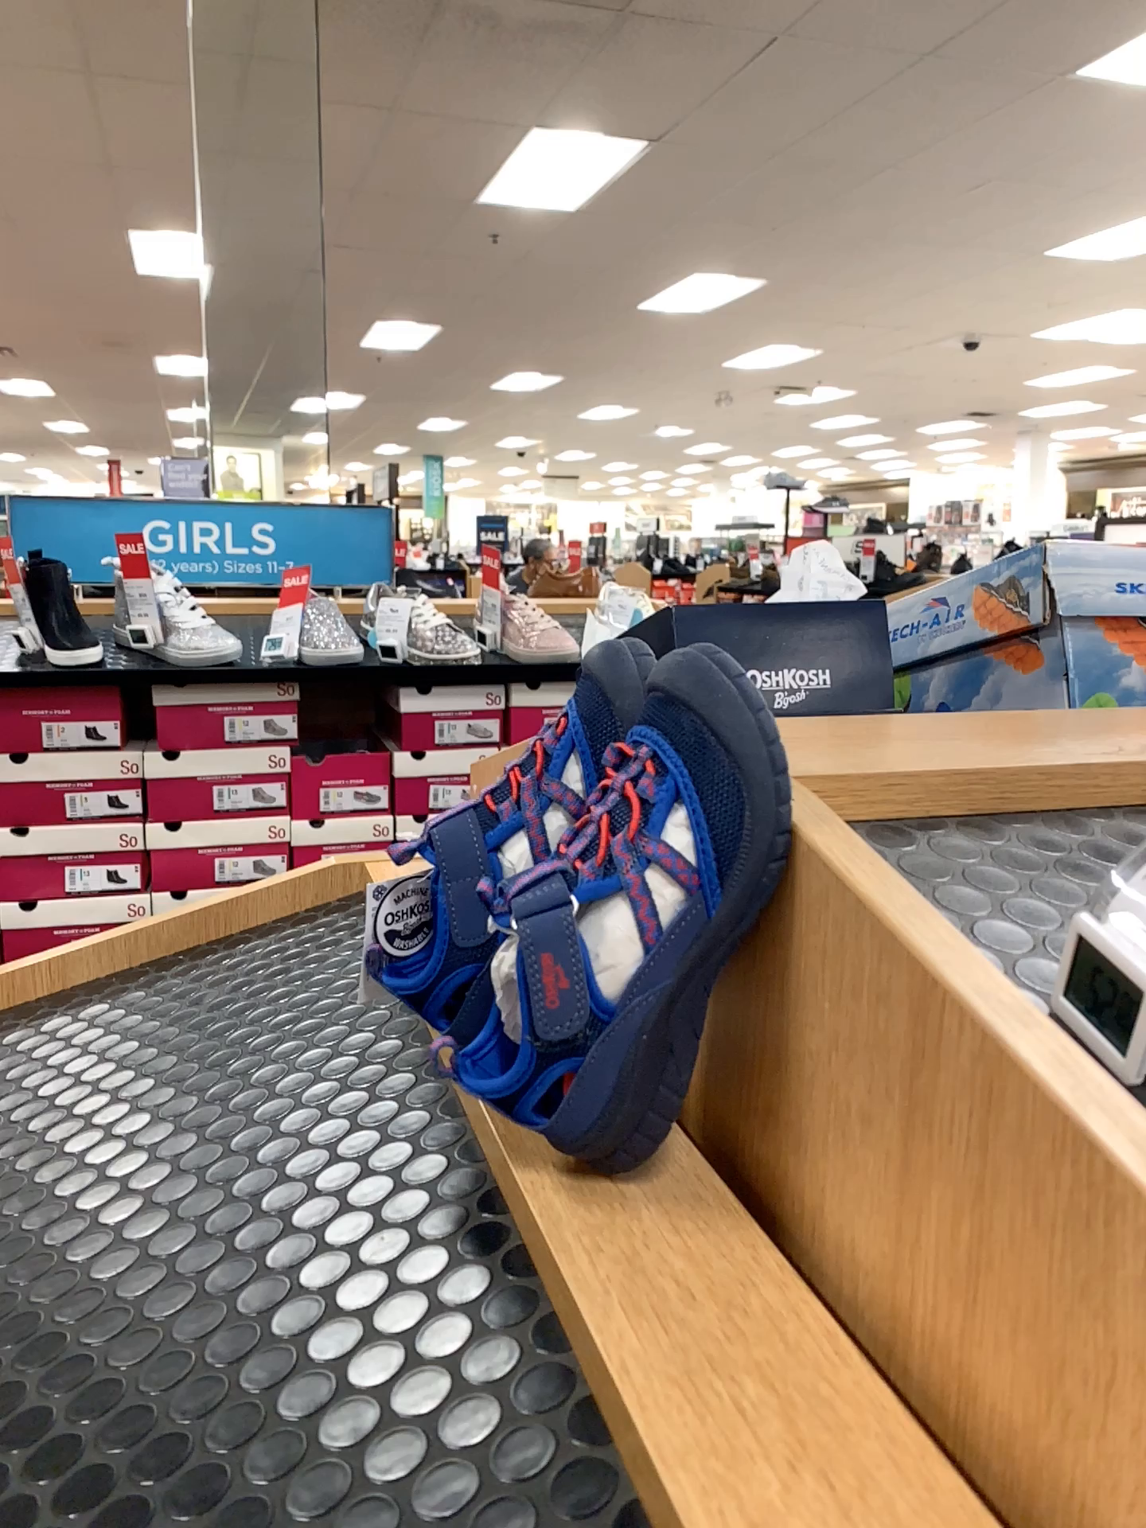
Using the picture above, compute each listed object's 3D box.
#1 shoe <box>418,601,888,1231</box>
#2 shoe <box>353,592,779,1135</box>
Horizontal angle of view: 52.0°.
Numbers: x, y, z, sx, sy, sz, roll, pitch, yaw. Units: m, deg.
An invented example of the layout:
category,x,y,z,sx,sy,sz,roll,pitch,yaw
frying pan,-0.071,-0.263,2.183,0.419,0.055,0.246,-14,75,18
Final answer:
category,x,y,z,sx,sy,sz,roll,pitch,yaw
shoe,0.022,0.048,0.413,0.080,0.190,0.080,20,3,-19
shoe,-0.008,0.037,0.489,0.100,0.190,0.080,20,4,-17
